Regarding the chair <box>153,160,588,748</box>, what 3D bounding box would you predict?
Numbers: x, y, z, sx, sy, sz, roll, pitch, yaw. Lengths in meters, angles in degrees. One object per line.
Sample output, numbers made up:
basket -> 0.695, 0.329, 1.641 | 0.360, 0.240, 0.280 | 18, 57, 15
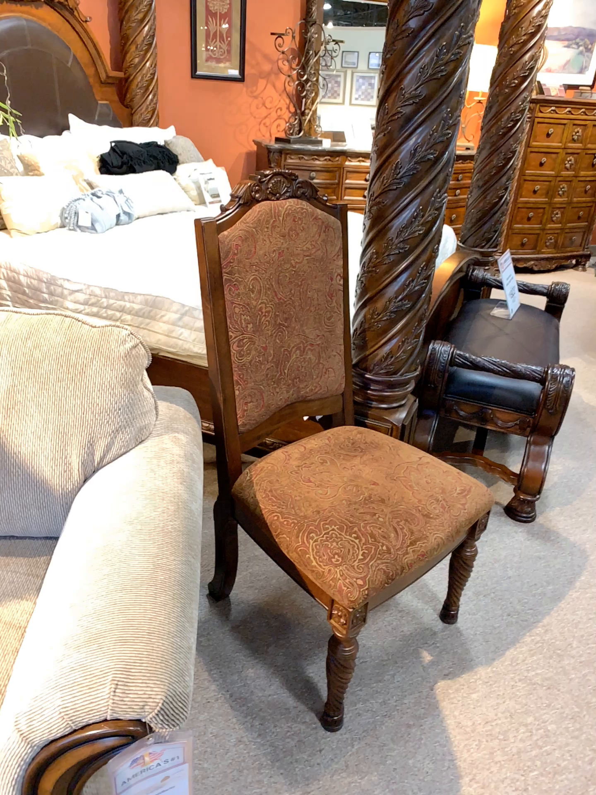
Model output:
chair -> 0.106, 0.078, 1.475 | 0.591, 1.123, 0.639 | -21, 37, -39

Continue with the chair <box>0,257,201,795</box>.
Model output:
chair -> -0.665, 0.302, 1.154 | 0.880, 0.865, 0.902 | 1, 28, -5
